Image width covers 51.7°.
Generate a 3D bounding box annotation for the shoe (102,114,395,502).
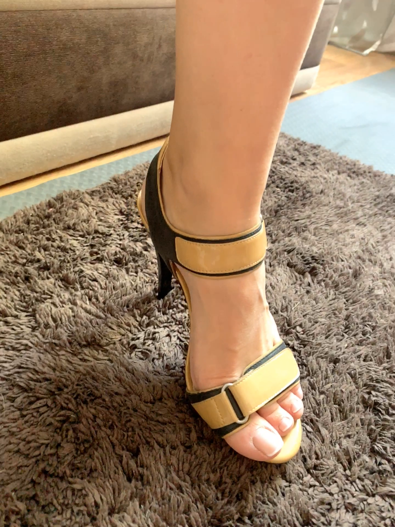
[{"bbox_3d":[0.021,0.013,0.277,0.090,0.149,0.201,-19,47,-31],"label":"shoe"}]
